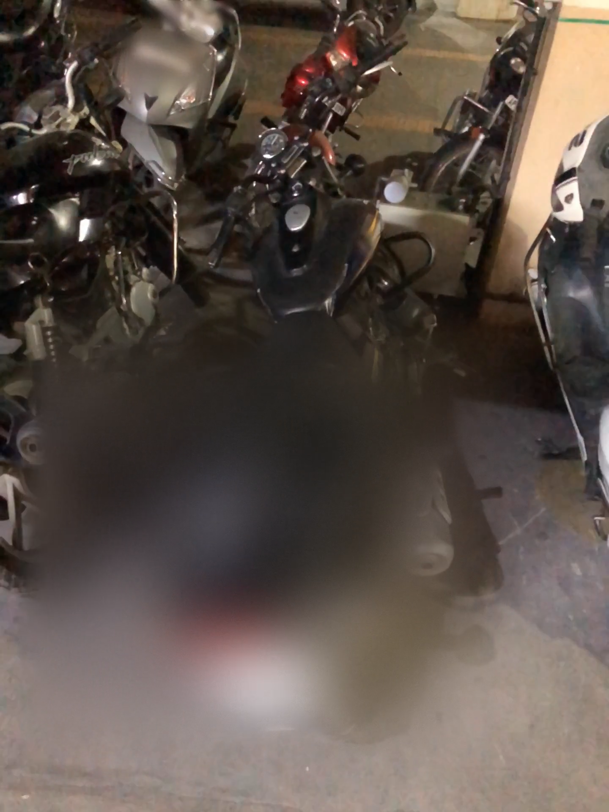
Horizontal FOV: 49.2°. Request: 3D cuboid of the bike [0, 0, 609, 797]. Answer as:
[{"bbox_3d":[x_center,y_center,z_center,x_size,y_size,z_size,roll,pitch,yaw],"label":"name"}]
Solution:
[{"bbox_3d":[-0.130,-0.232,1.693,0.862,1.251,1.678,4,41,0],"label":"bike"}]
